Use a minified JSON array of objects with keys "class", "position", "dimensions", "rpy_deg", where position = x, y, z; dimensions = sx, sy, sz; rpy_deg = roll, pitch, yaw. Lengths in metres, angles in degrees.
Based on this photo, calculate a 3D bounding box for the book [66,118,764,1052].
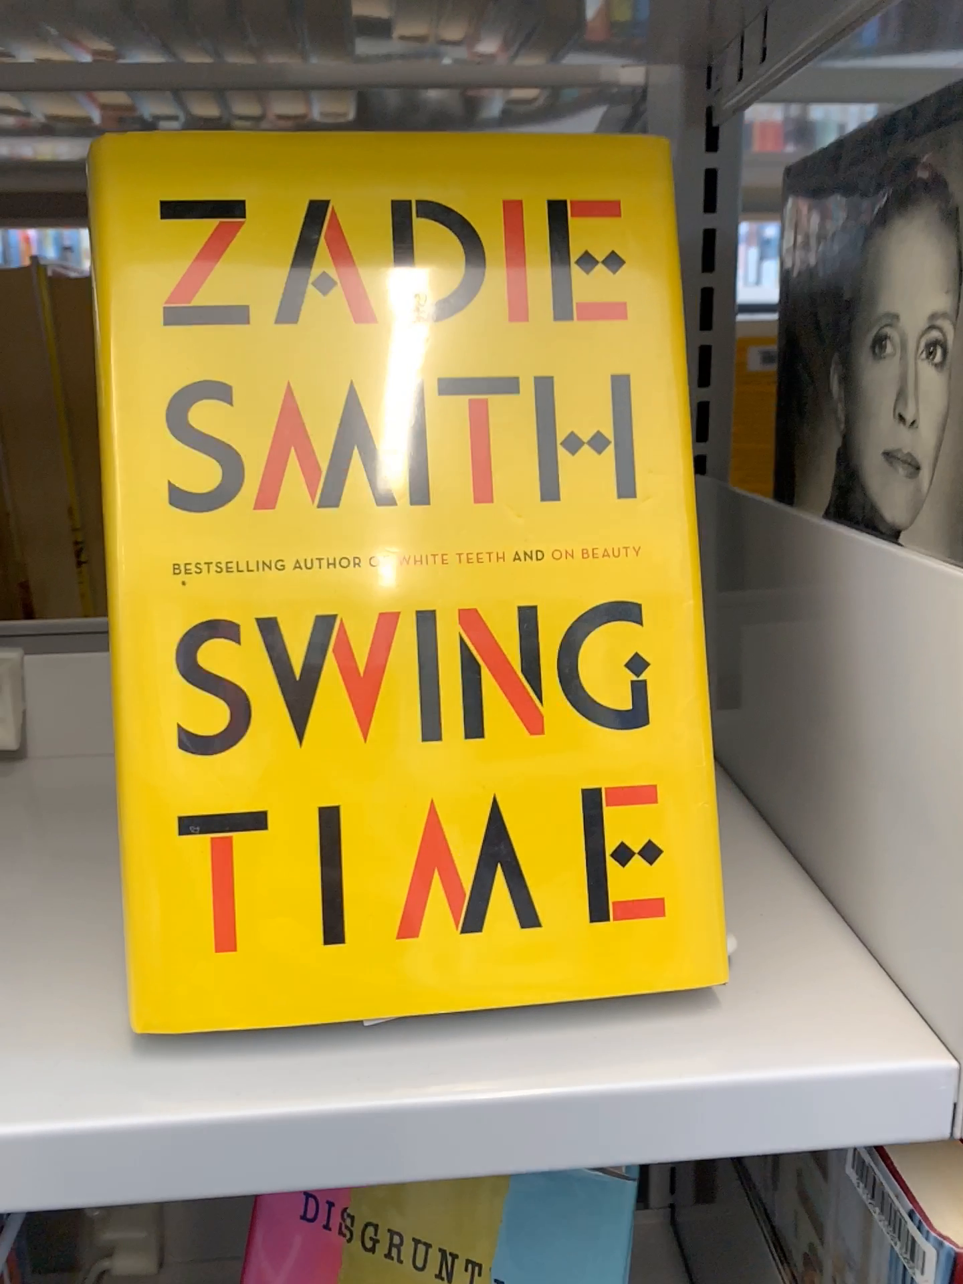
[{"class":"book","position":[-0.020,-0.020,0.287],"dimensions":[0.167,0.233,0.060],"rpy_deg":[-3,-3,-7]}]
